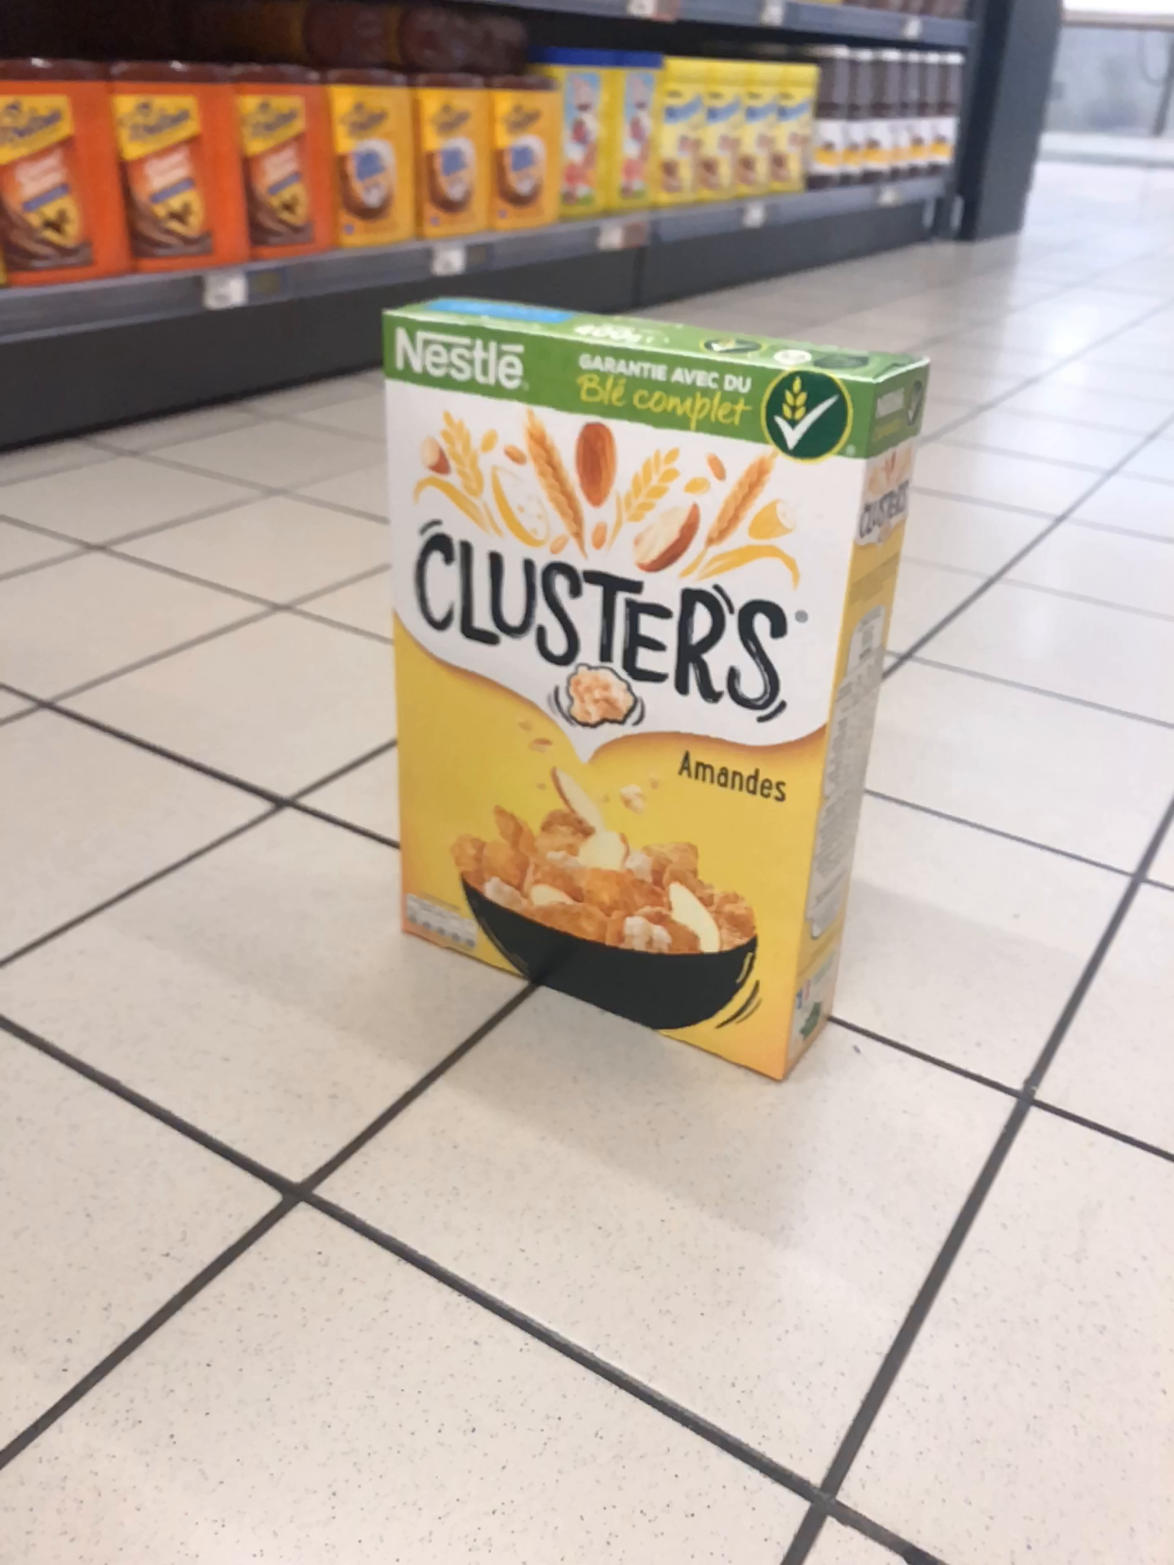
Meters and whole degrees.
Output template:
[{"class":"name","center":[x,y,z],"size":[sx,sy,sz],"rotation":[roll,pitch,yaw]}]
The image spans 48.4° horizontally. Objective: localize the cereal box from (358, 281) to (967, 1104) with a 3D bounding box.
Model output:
[{"class":"cereal box","center":[0.016,-0.039,0.518],"size":[0.210,0.278,0.060],"rotation":[17,30,27]}]
